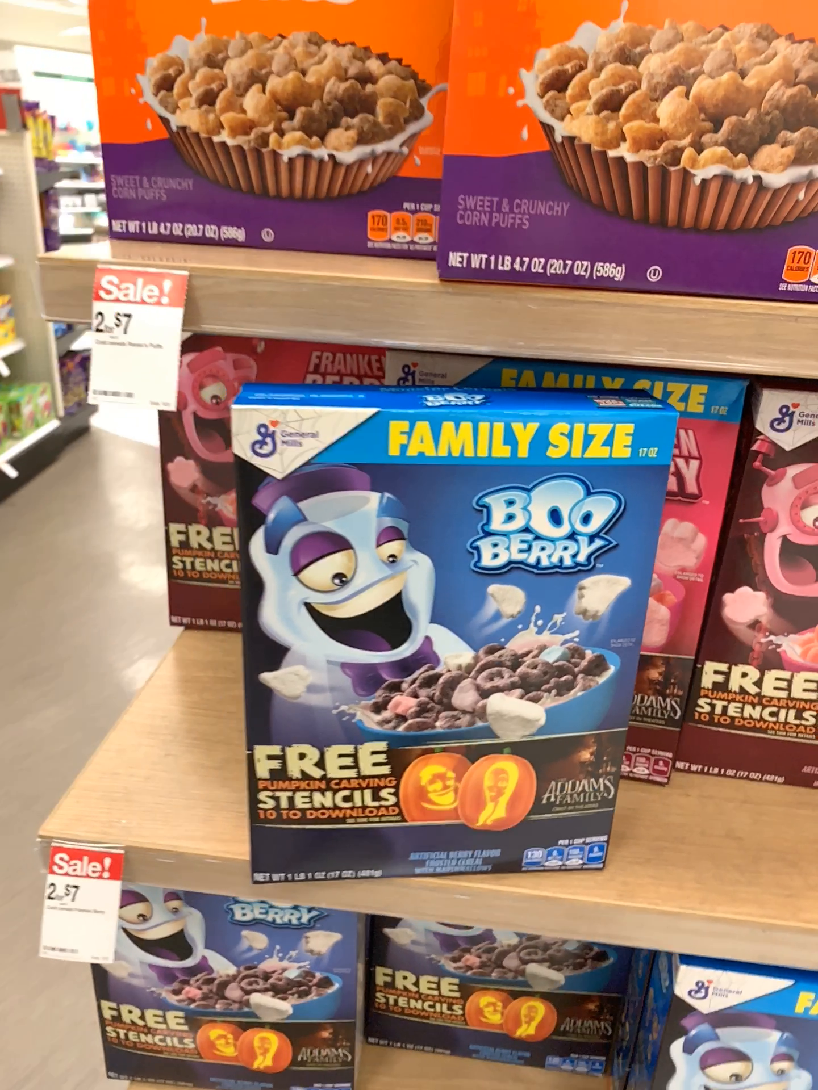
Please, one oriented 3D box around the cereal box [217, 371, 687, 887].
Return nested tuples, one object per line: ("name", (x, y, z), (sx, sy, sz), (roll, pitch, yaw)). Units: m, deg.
("cereal box", (0.015, 0.058, 0.510), (0.240, 0.309, 0.060), (0, 22, -7))
